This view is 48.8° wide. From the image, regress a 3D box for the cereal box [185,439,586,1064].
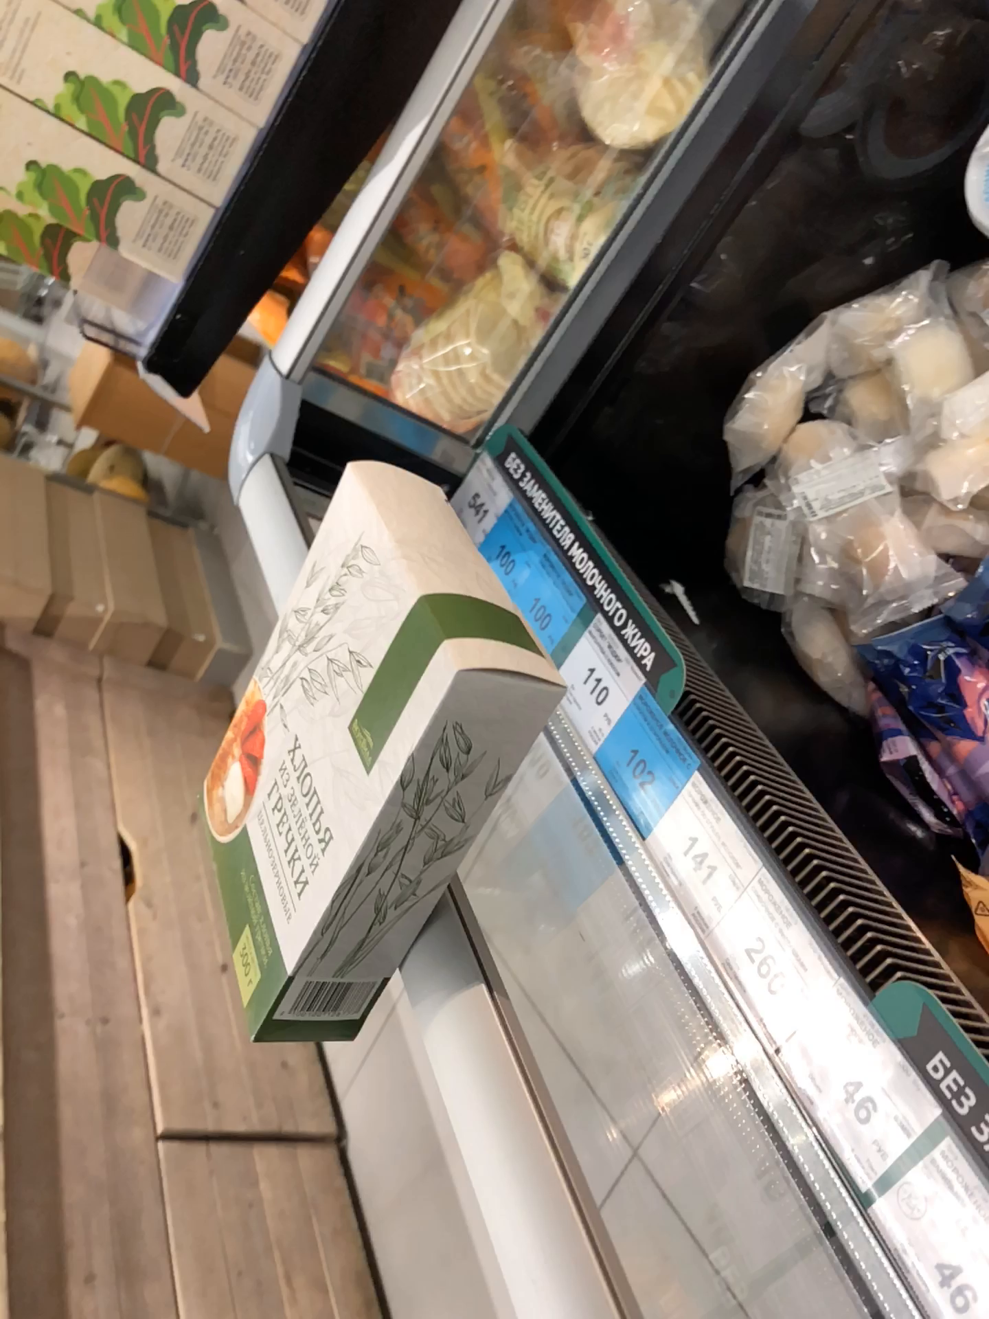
[{"bbox_3d":[-0.061,0.038,0.447,0.200,0.050,0.151,-60,38,28],"label":"cereal box"}]
